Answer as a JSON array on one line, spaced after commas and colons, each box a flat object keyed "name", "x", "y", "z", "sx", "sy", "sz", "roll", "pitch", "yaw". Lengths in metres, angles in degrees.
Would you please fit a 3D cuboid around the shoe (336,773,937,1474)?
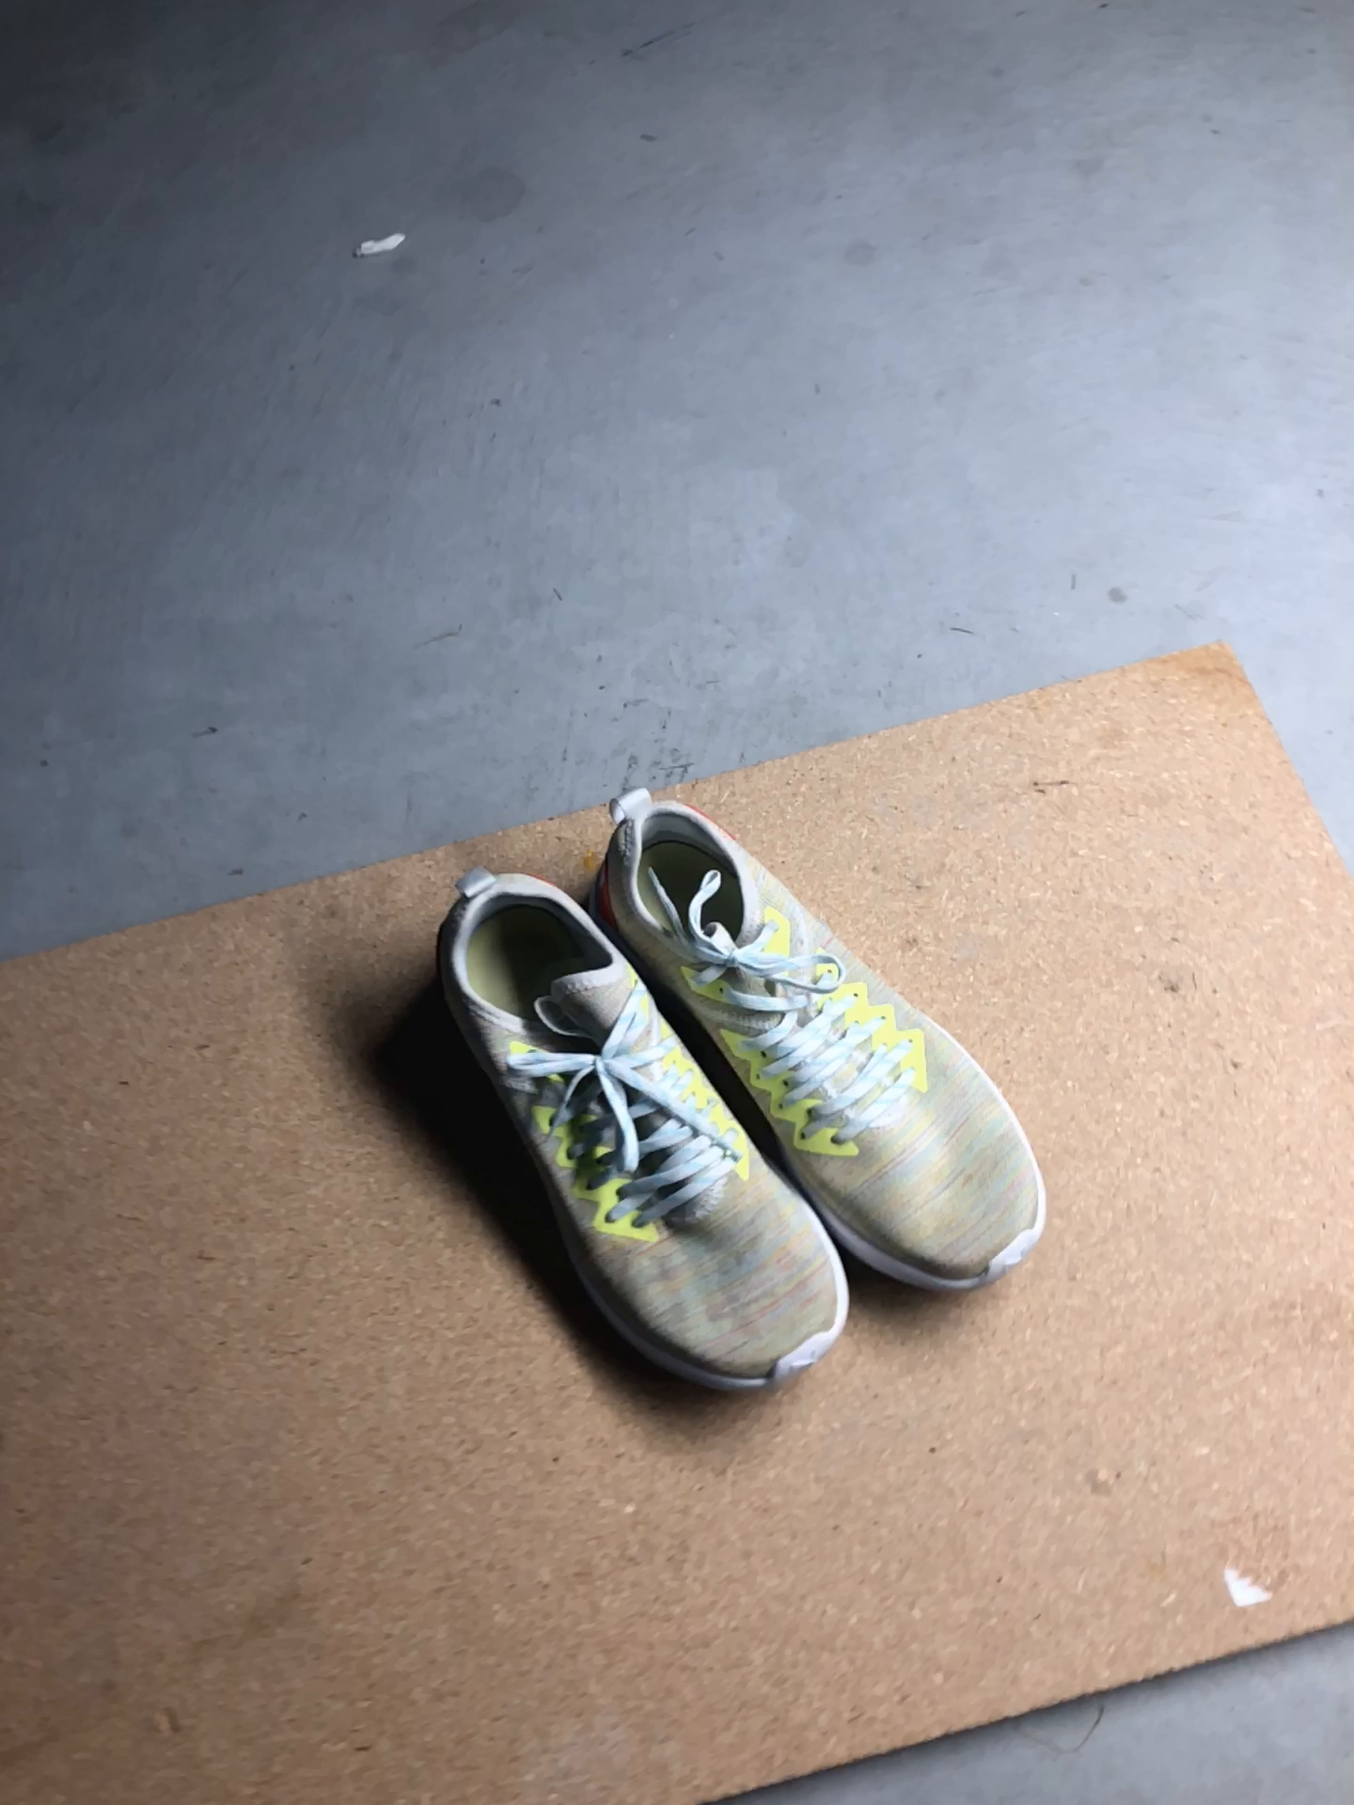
[{"name": "shoe", "x": -0.027, "y": 0.098, "z": 0.682, "sx": 0.100, "sy": 0.100, "sz": 0.300, "roll": -33, "pitch": 71, "yaw": -18}]

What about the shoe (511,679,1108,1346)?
[{"name": "shoe", "x": 0.051, "y": 0.049, "z": 0.723, "sx": 0.110, "sy": 0.100, "sz": 0.300, "roll": -33, "pitch": 71, "yaw": -18}]
